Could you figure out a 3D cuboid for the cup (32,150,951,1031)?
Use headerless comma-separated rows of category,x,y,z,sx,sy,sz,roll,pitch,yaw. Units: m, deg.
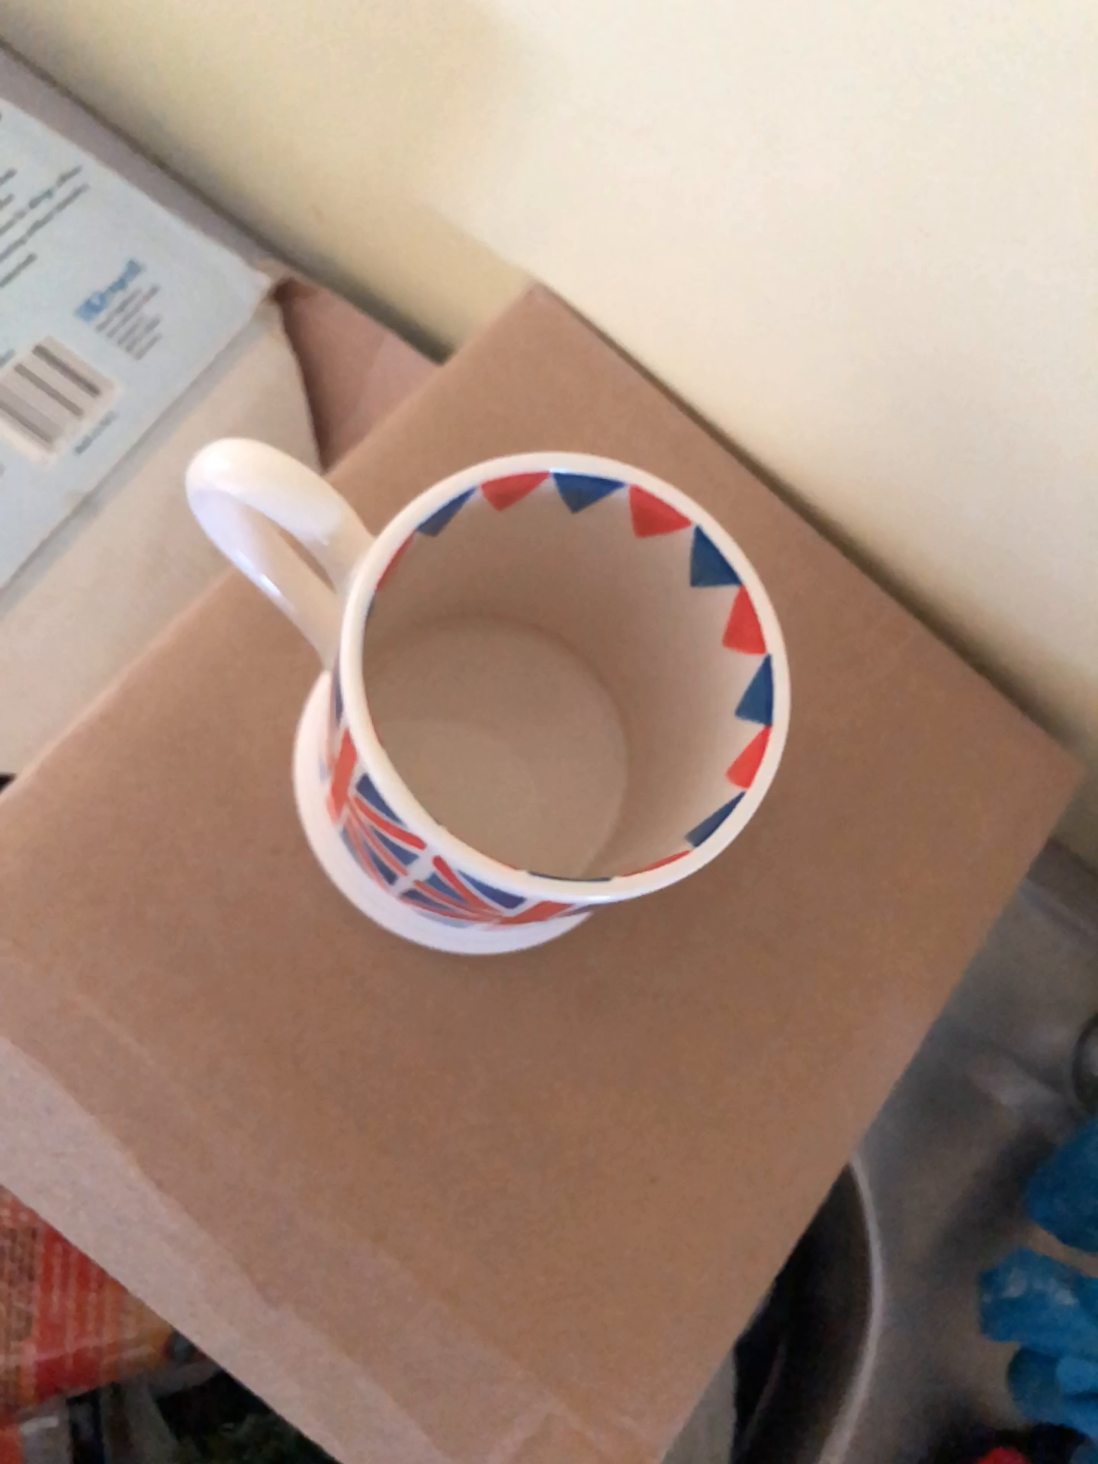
cup,-0.015,-0.020,0.264,0.130,0.100,0.100,41,71,1
